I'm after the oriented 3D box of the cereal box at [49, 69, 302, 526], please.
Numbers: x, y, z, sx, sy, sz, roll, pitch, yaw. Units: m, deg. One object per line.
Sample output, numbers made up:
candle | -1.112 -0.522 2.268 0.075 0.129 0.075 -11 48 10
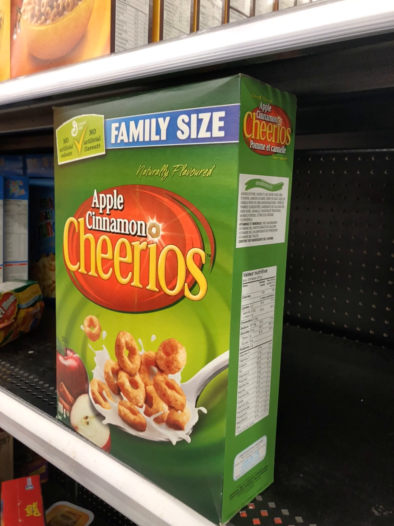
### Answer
cereal box | -0.039 0.017 0.417 0.240 0.329 0.080 9 10 40
